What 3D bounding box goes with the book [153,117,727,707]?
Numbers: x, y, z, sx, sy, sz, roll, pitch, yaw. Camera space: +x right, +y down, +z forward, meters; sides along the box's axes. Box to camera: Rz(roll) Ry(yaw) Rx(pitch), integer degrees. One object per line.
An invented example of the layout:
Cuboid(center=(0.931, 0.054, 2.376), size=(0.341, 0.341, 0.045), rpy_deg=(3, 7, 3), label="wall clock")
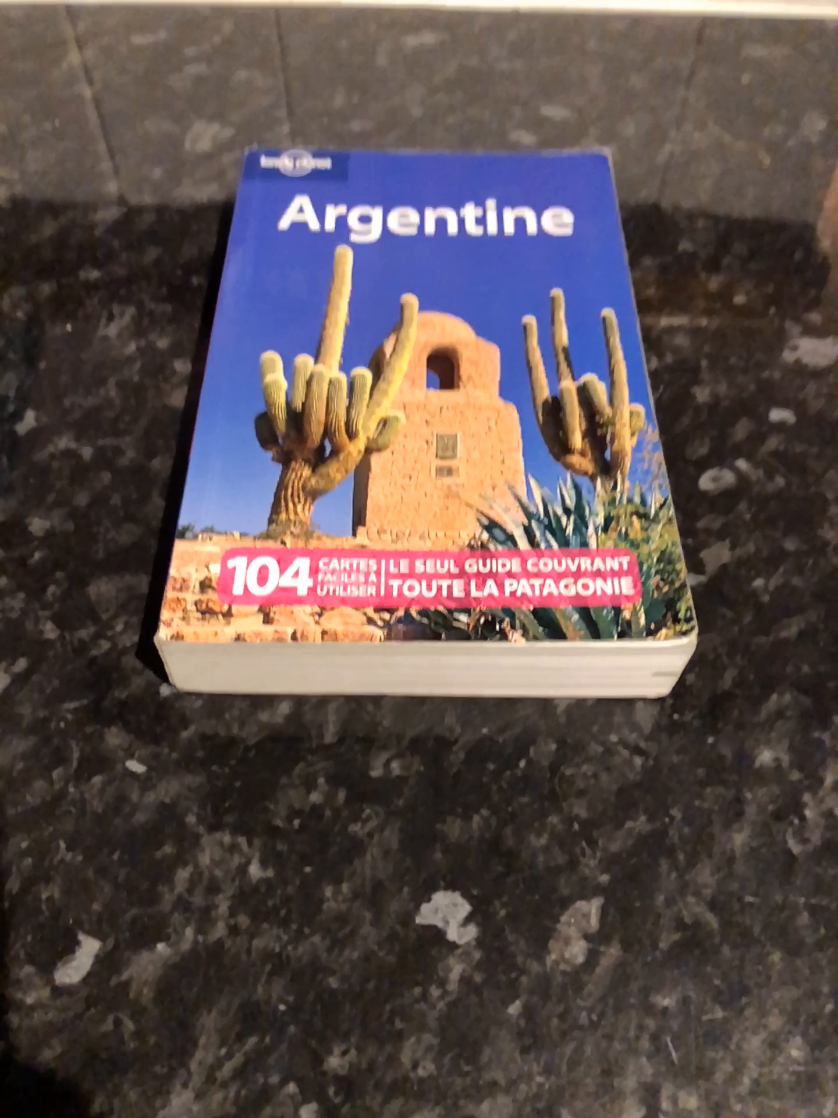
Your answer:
Cuboid(center=(0.006, -0.059, 0.282), size=(0.130, 0.030, 0.211), rpy_deg=(1, 56, -1), label="book")
